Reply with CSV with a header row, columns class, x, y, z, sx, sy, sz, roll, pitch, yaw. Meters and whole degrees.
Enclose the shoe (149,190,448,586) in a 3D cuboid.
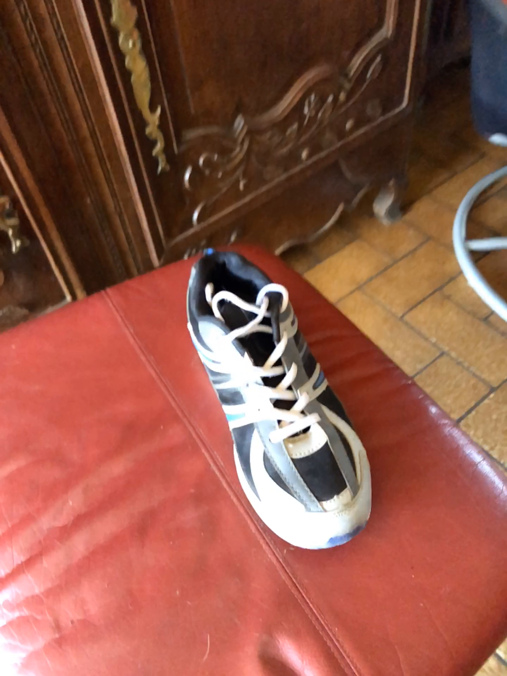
class,x,y,z,sx,sy,sz,roll,pitch,yaw
shoe,0.017,0.023,0.430,0.110,0.119,0.261,-19,52,-9
